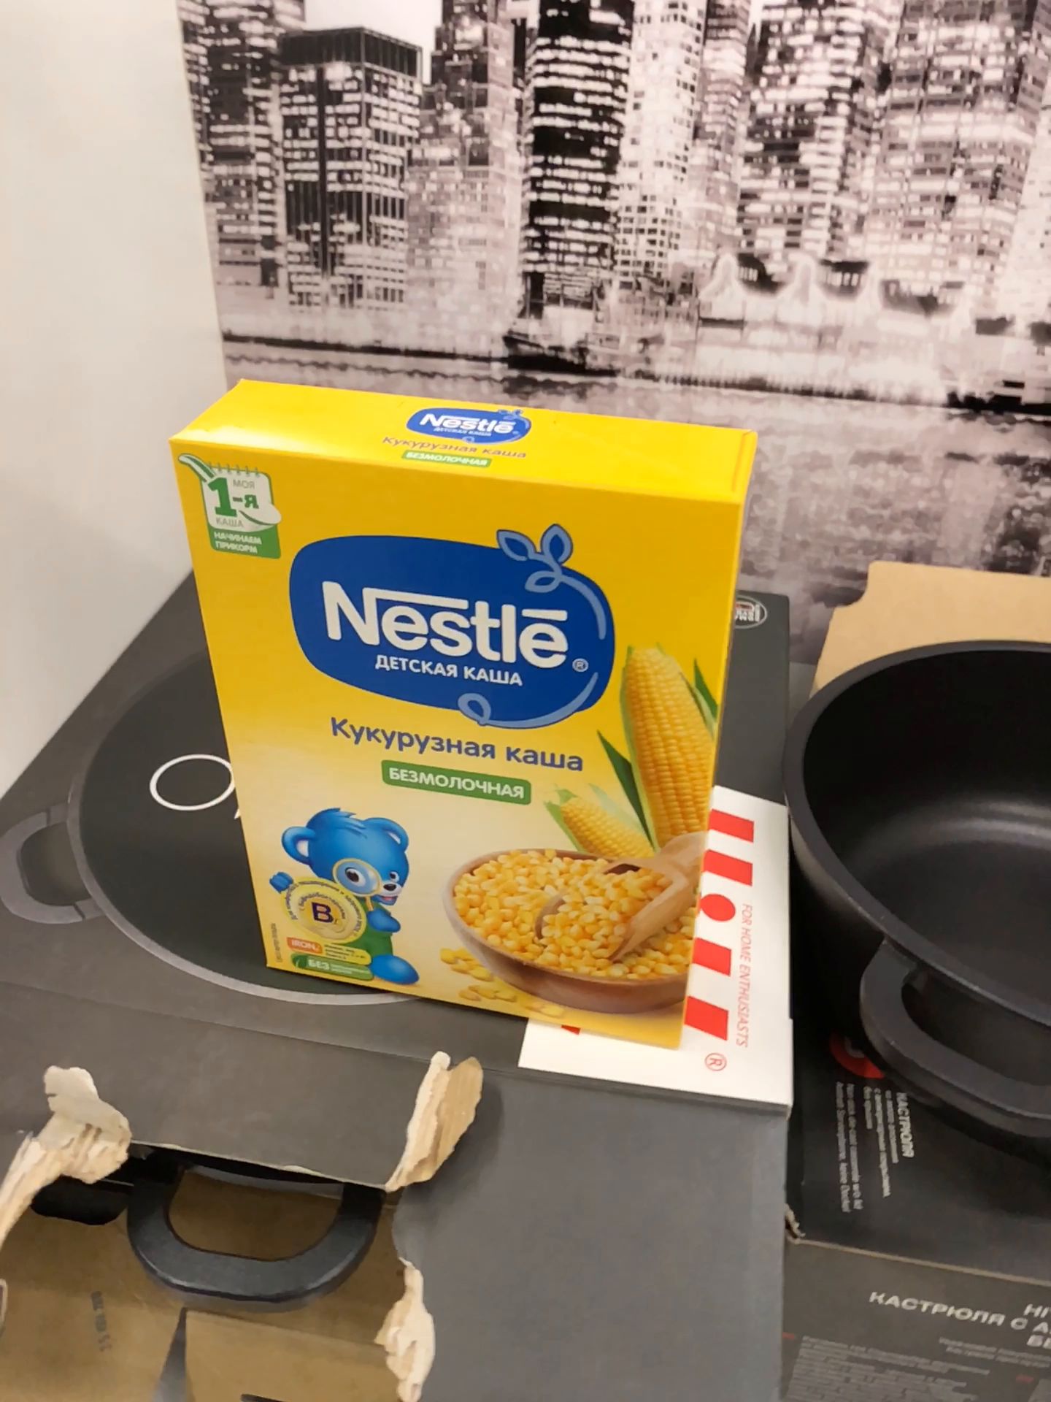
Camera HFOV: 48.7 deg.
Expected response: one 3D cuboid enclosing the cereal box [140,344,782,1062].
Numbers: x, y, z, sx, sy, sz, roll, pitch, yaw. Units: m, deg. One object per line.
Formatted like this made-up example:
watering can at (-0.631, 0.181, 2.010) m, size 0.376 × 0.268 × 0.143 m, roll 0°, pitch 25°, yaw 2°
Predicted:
cereal box at (-0.014, 0.007, 0.343) m, size 0.150 × 0.199 × 0.050 m, roll 8°, pitch 36°, yaw 11°
